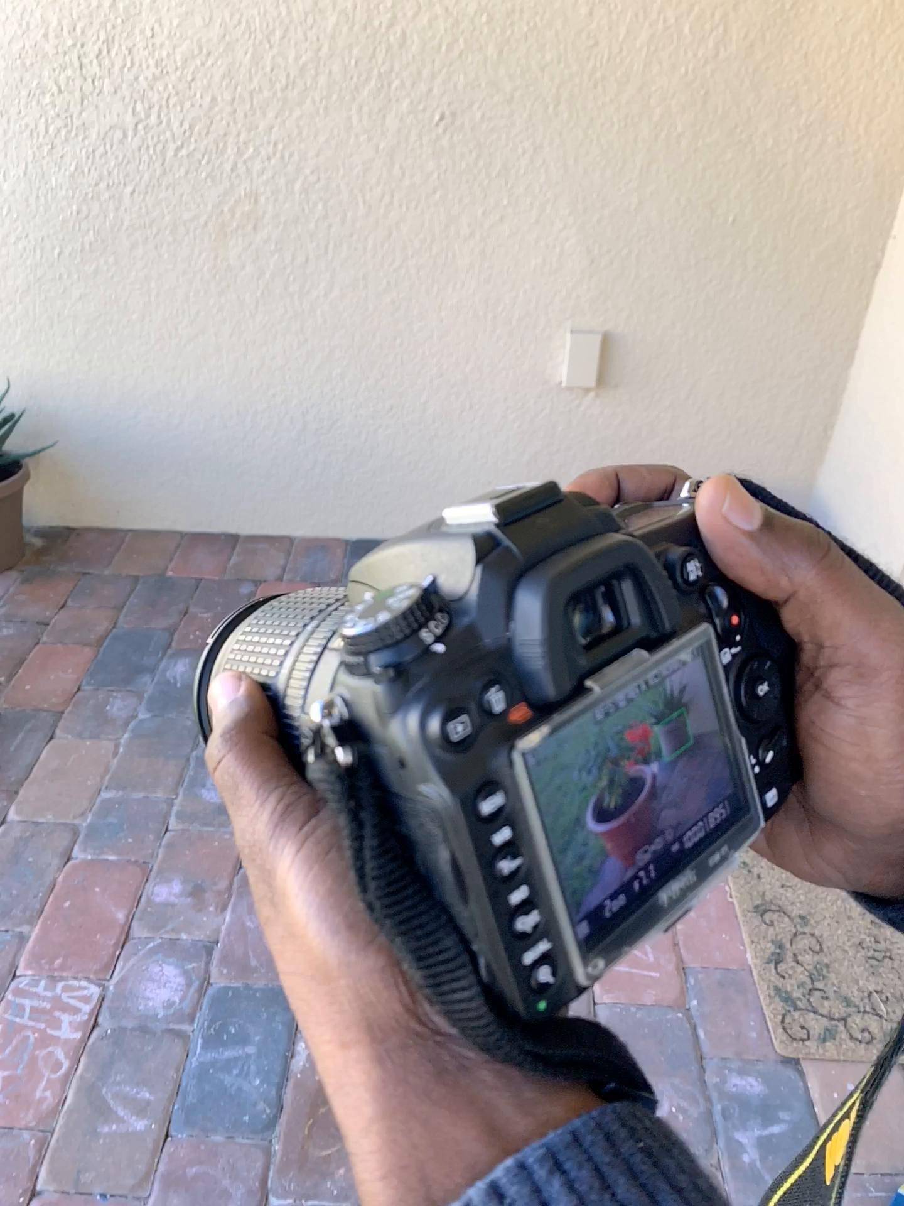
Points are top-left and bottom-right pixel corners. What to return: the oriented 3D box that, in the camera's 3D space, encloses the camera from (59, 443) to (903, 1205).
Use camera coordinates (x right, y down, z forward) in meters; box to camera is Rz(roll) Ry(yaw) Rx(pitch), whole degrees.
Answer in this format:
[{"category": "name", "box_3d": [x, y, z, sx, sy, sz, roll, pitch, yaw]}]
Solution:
[{"category": "camera", "box_3d": [0.001, 0.033, 0.258, 0.131, 0.100, 0.200, -25, 16, -35]}]
